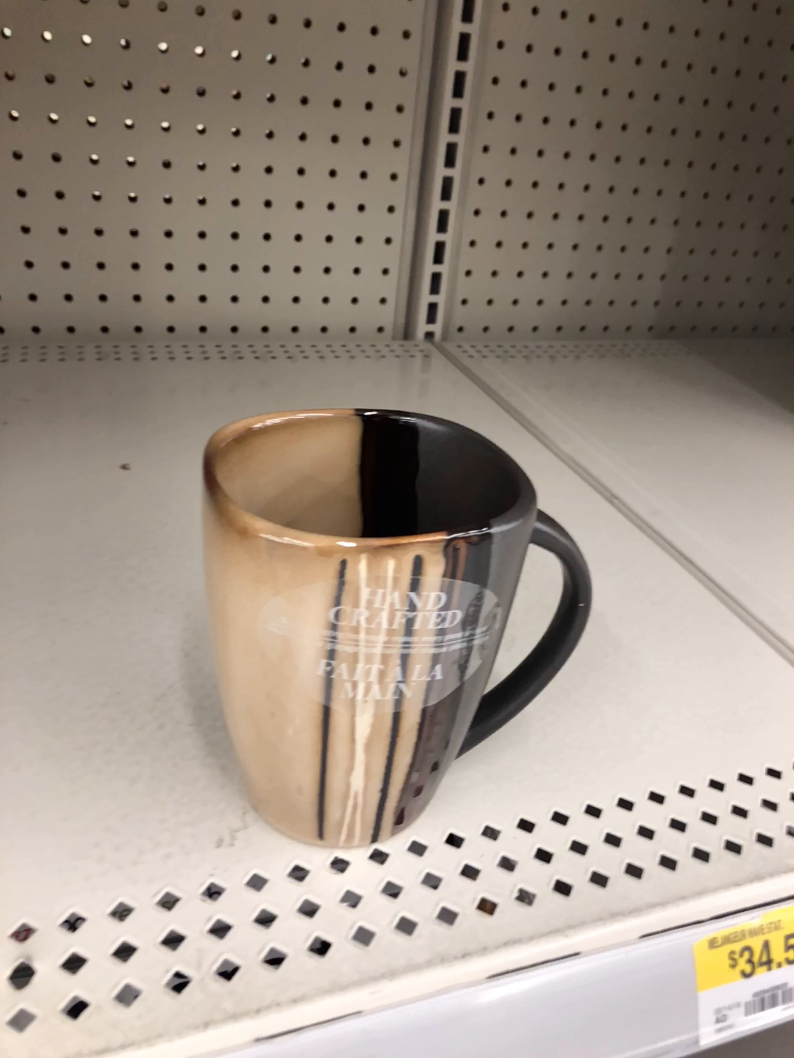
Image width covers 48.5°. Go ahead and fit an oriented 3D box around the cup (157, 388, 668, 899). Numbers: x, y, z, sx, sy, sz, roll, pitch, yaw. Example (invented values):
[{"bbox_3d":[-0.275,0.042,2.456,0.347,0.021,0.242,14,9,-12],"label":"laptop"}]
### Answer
[{"bbox_3d":[-0.005,0.027,0.272,0.120,0.110,0.087,-5,31,-20],"label":"cup"}]
